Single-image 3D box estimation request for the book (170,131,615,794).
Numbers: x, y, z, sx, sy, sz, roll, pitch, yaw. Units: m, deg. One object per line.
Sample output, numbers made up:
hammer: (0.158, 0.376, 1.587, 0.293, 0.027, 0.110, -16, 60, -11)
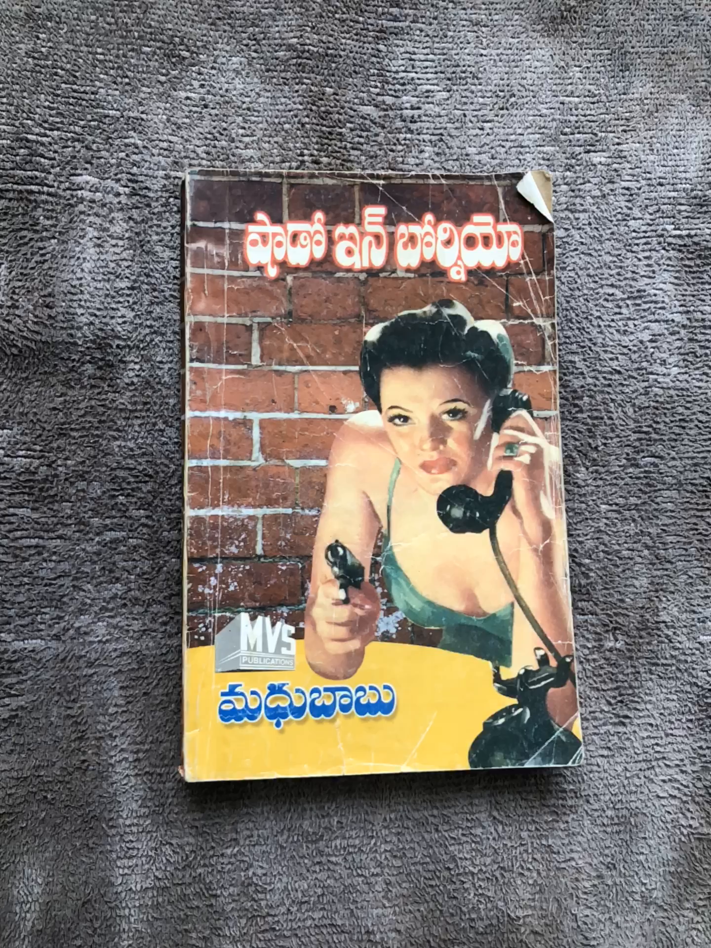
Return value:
book: (0.006, -0.004, 0.205, 0.100, 0.040, 0.150, 0, 83, -7)
